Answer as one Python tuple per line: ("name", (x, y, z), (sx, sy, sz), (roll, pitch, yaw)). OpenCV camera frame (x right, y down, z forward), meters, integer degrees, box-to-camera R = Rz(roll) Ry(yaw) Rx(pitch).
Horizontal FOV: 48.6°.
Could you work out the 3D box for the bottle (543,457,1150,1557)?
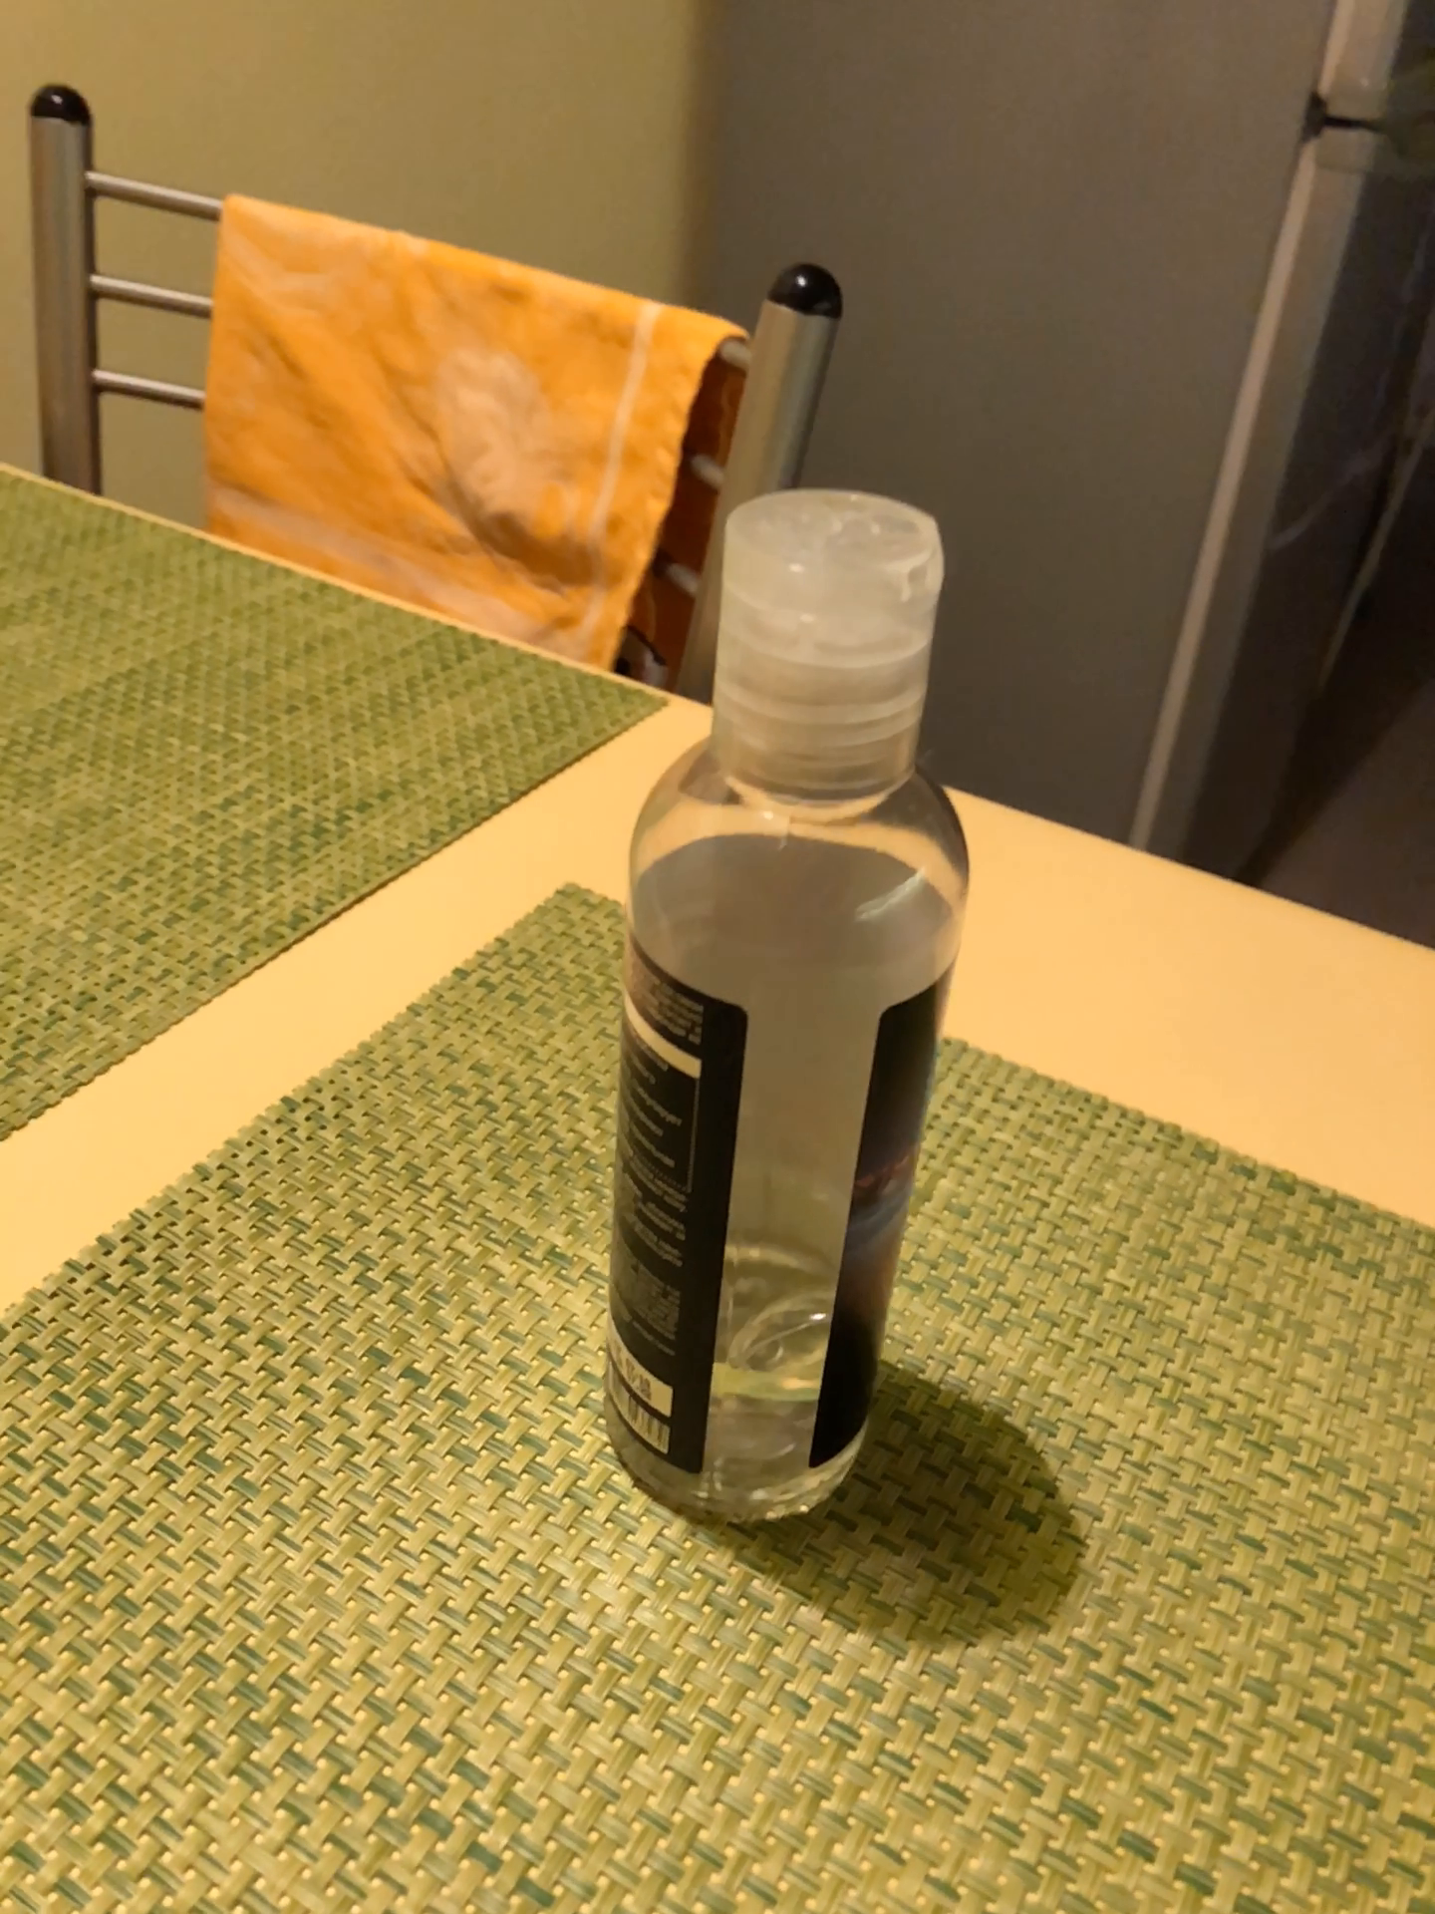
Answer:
("bottle", (0.008, 0.013, 0.224), (0.054, 0.149, 0.051), (4, 35, -3))
